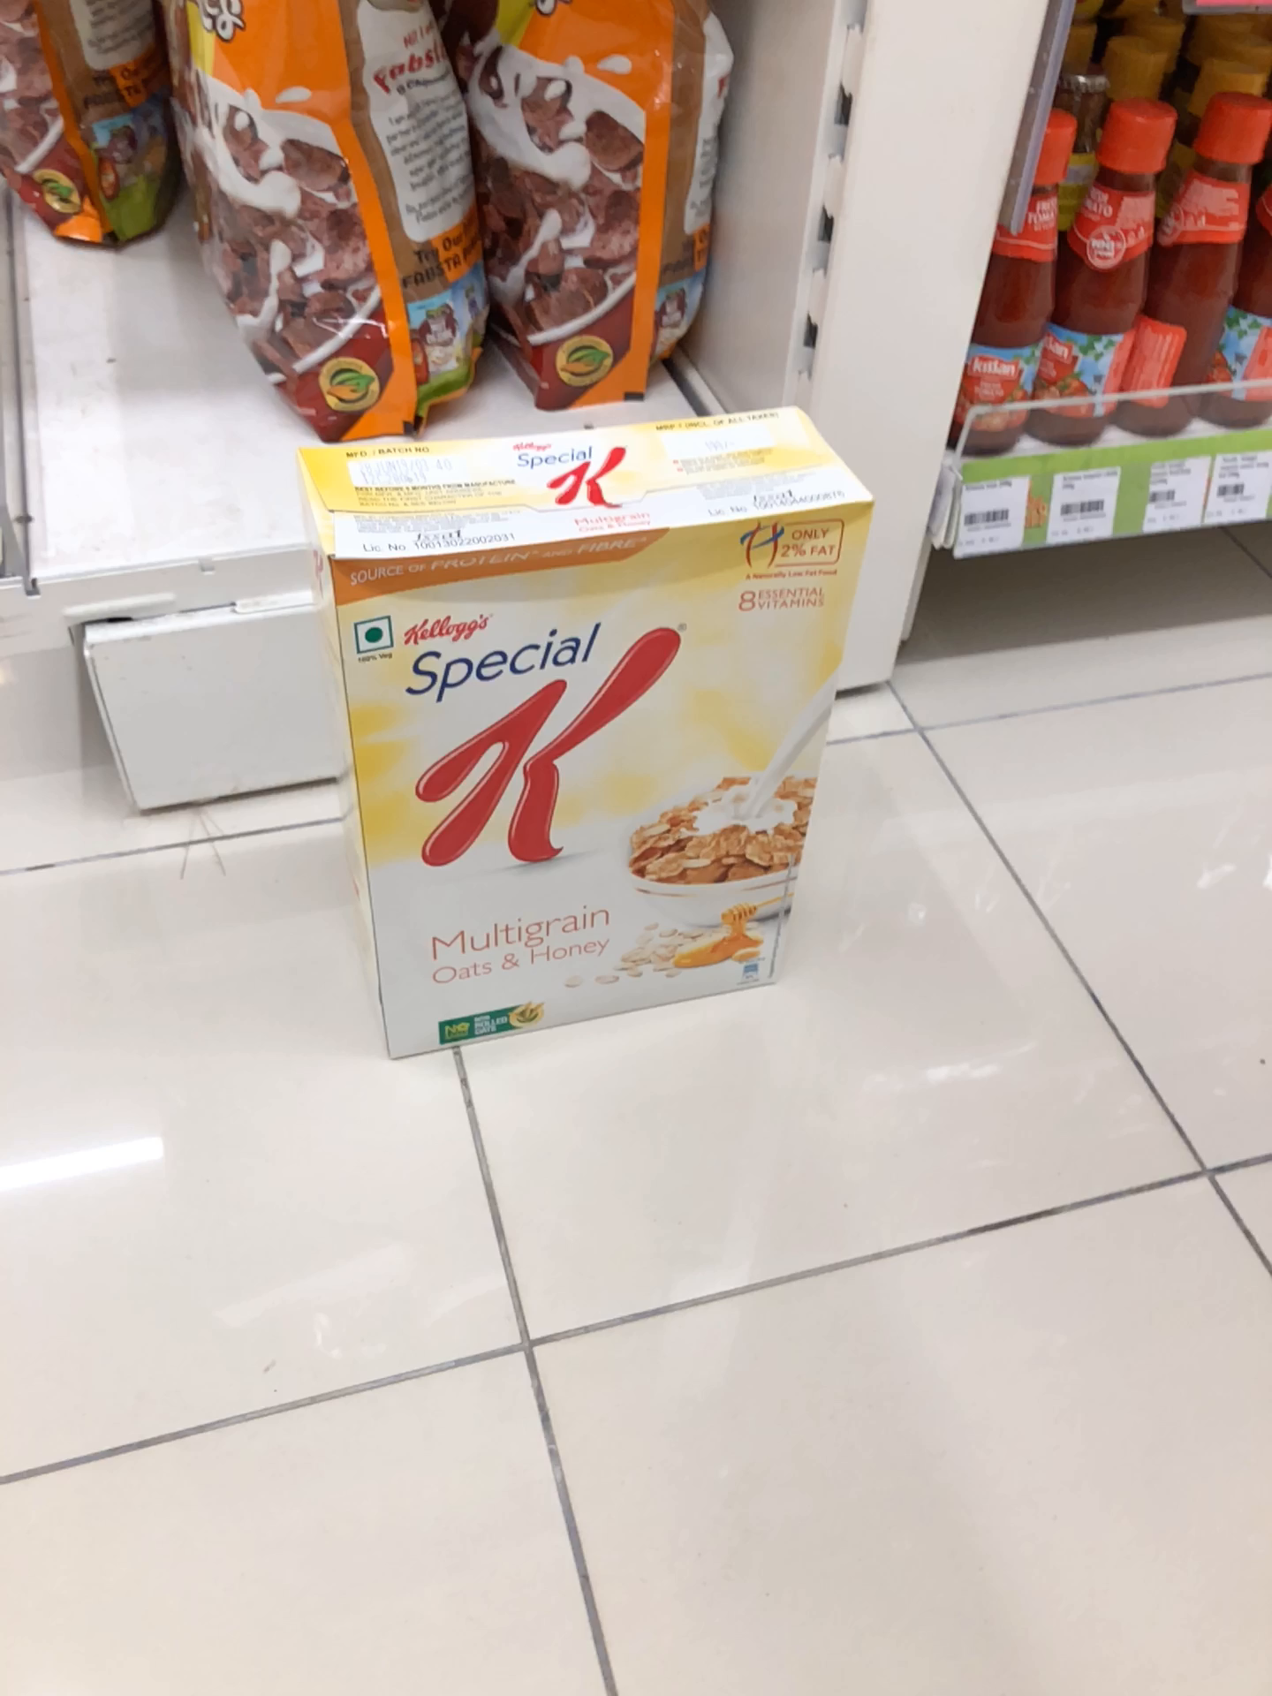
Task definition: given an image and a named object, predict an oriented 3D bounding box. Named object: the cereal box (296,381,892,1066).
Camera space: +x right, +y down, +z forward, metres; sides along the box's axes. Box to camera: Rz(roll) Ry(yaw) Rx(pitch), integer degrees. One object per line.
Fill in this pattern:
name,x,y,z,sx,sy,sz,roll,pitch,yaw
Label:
cereal box,-0.024,-0.039,0.569,0.190,0.268,0.070,-10,47,-15
